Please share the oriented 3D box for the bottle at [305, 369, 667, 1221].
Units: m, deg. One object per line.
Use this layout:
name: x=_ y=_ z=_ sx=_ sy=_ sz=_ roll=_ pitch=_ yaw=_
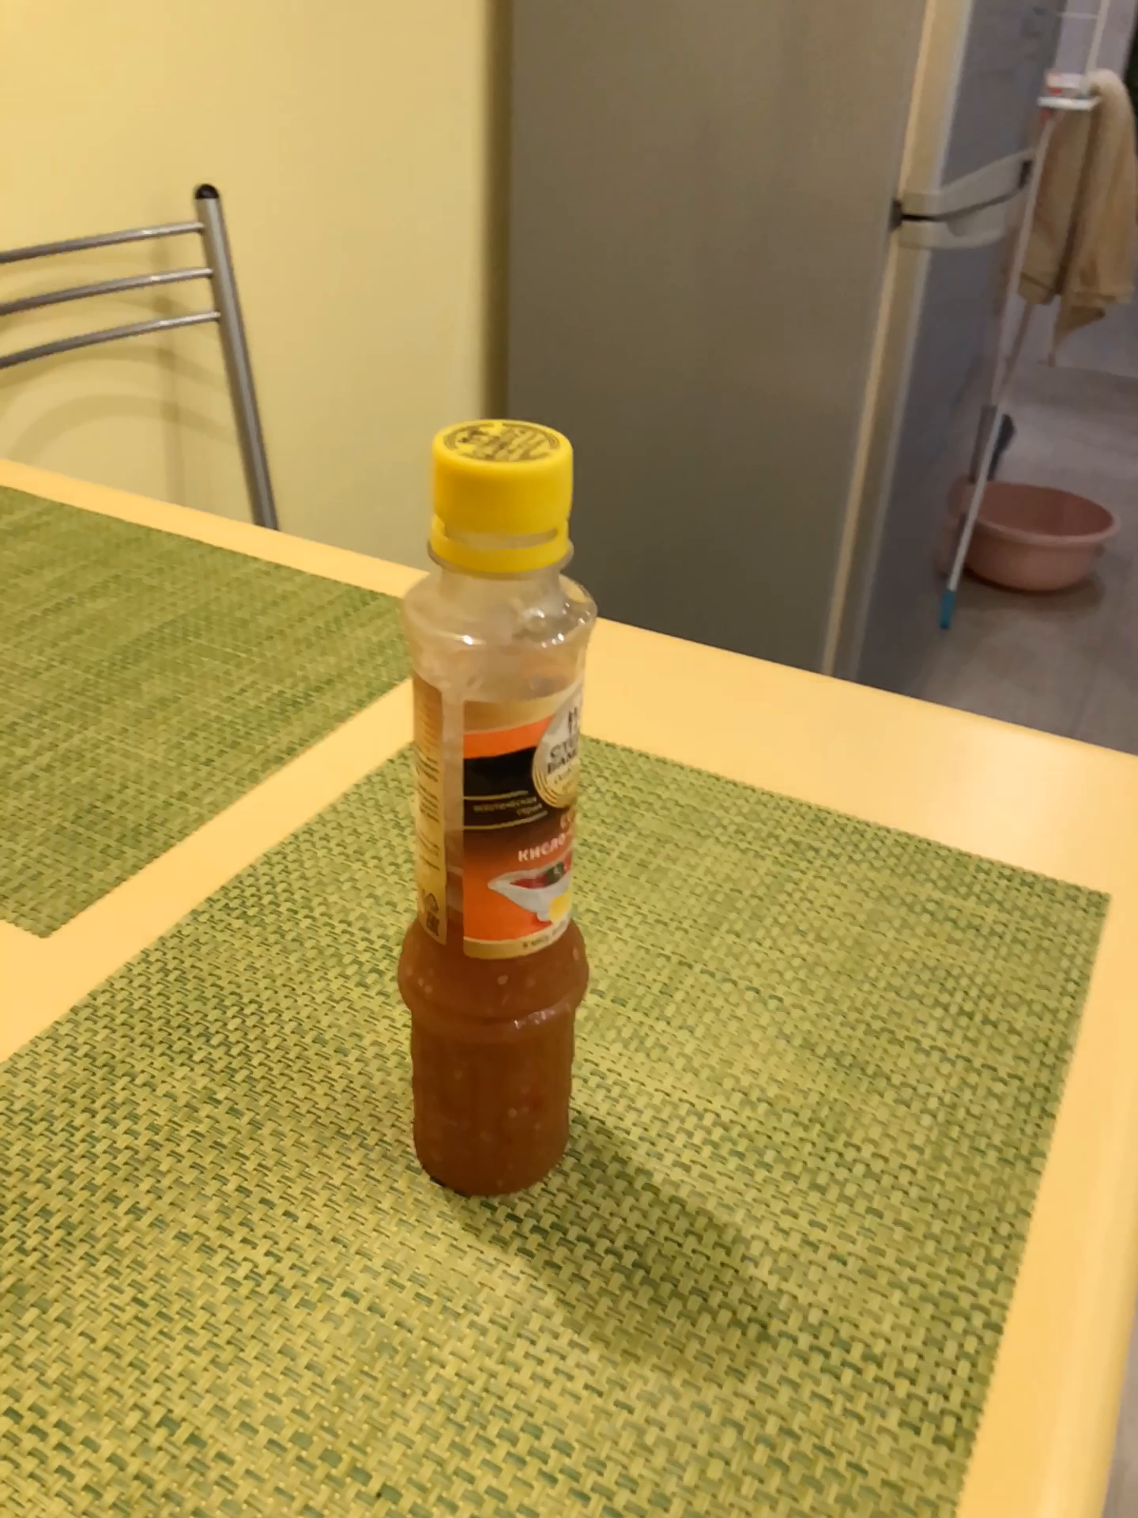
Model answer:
bottle: x=-0.020 y=0.017 z=0.320 sx=0.060 sy=0.208 sz=0.060 roll=2 pitch=31 yaw=-1
